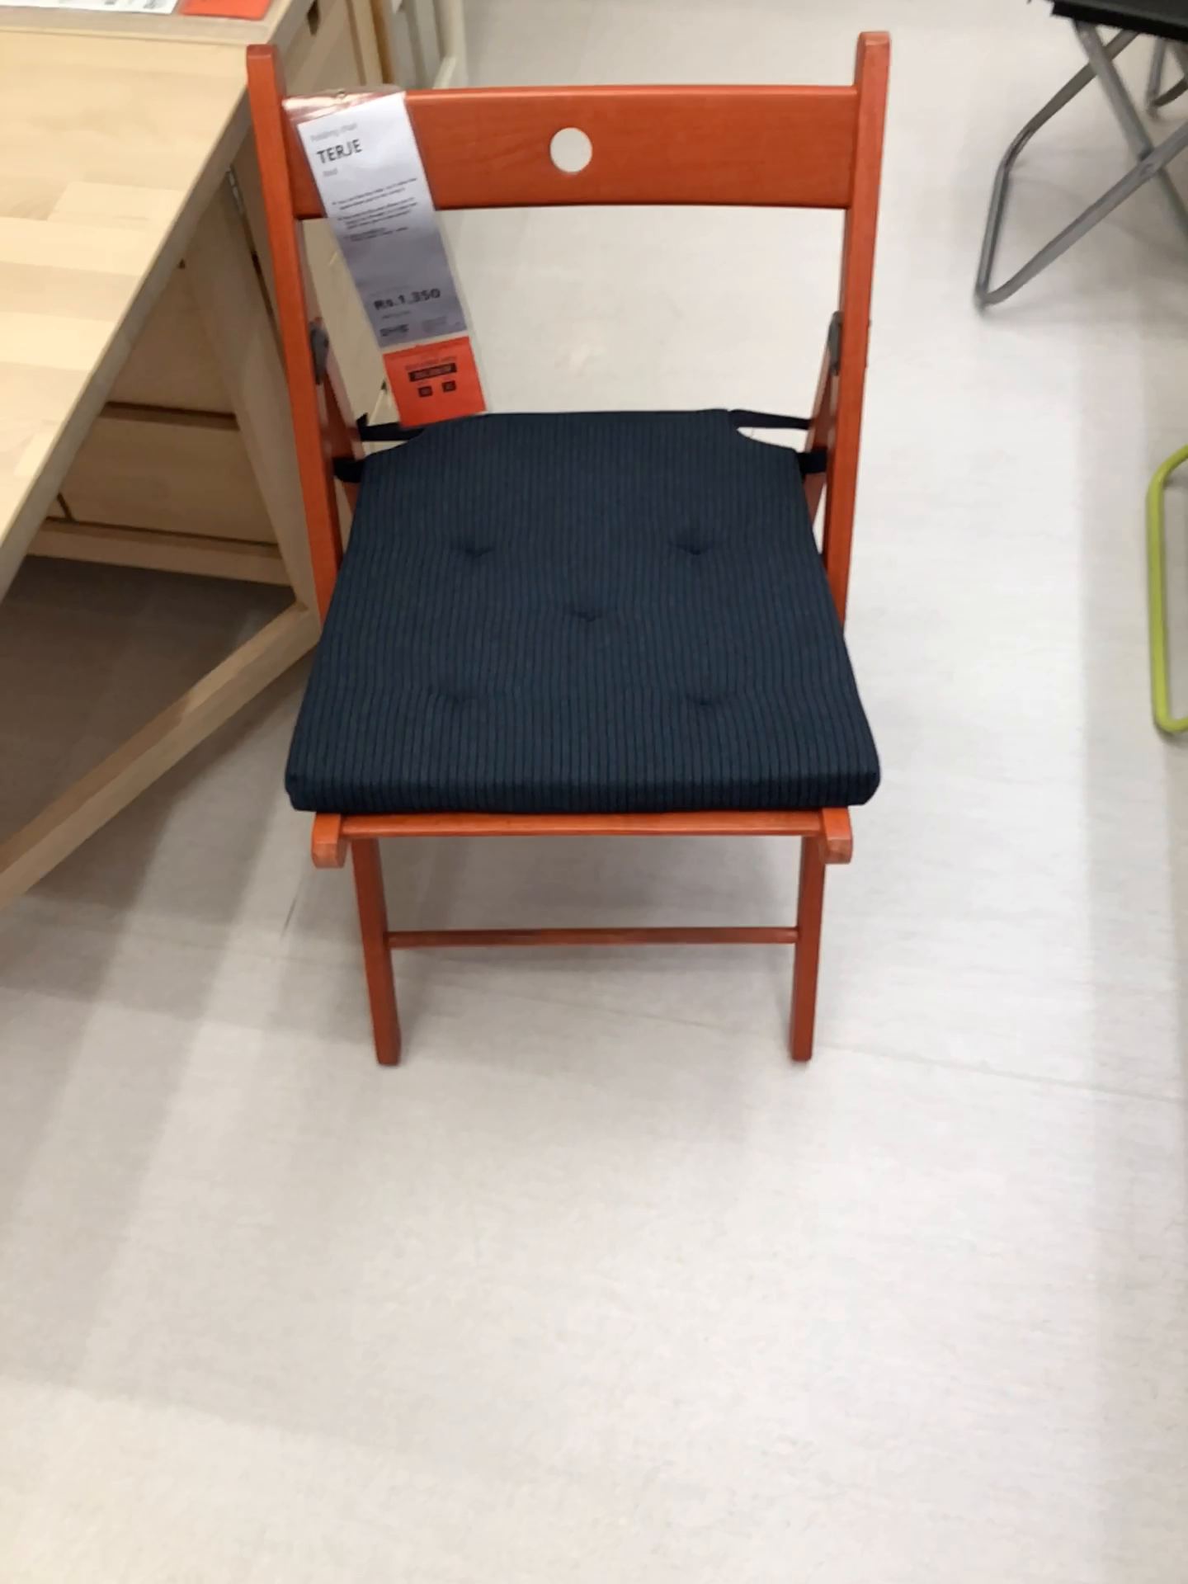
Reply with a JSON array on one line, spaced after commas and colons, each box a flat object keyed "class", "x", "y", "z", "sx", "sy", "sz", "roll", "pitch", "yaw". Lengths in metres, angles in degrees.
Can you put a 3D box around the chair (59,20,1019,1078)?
[{"class": "chair", "x": -0.018, "y": -0.129, "z": 1.078, "sx": 0.470, "sy": 0.716, "sz": 0.503, "roll": 0, "pitch": 58, "yaw": 1}]
